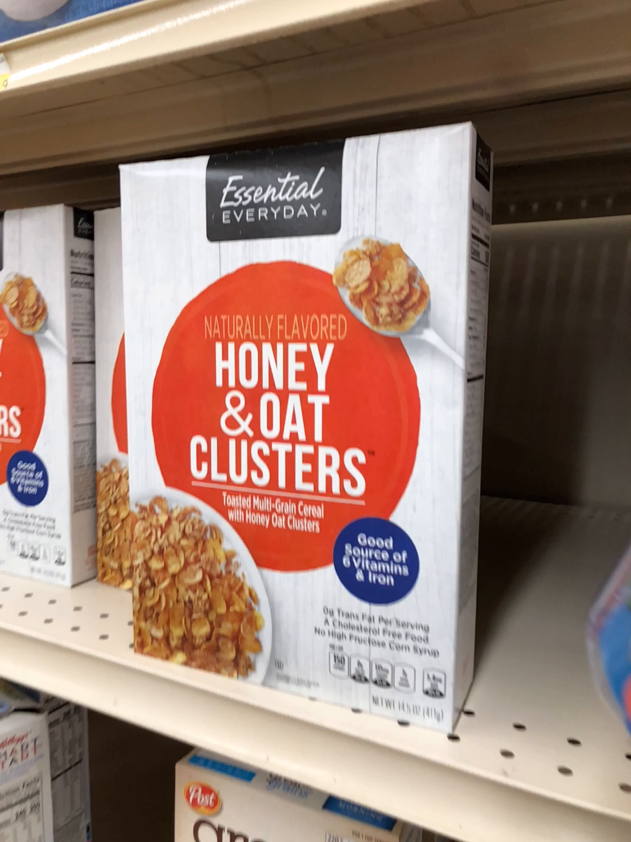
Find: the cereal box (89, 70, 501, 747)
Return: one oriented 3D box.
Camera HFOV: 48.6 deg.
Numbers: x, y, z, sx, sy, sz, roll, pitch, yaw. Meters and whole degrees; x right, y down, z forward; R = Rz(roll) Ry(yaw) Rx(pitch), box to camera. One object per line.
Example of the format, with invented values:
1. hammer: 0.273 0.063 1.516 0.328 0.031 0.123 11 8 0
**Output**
1. cereal box: -0.015 -0.007 0.387 0.210 0.300 0.070 3 8 27
